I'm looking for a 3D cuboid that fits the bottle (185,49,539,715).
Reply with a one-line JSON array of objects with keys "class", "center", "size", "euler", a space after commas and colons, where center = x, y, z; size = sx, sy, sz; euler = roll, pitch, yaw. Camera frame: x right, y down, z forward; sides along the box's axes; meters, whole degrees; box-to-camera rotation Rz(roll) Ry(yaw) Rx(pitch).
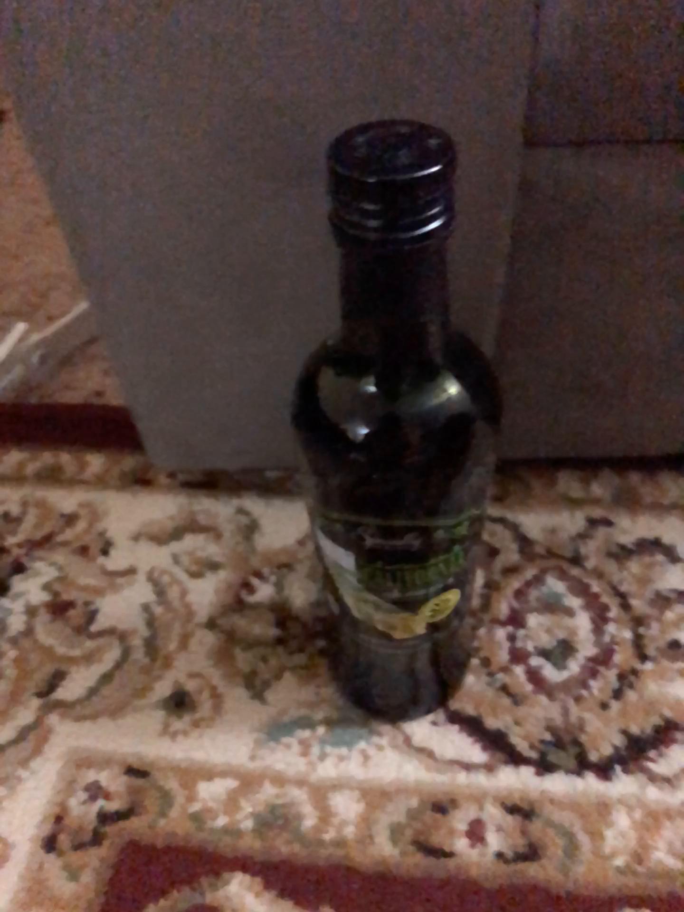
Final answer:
[{"class": "bottle", "center": [0.018, 0.002, 0.288], "size": [0.080, 0.259, 0.070], "euler": [-1, 45, 6]}]
